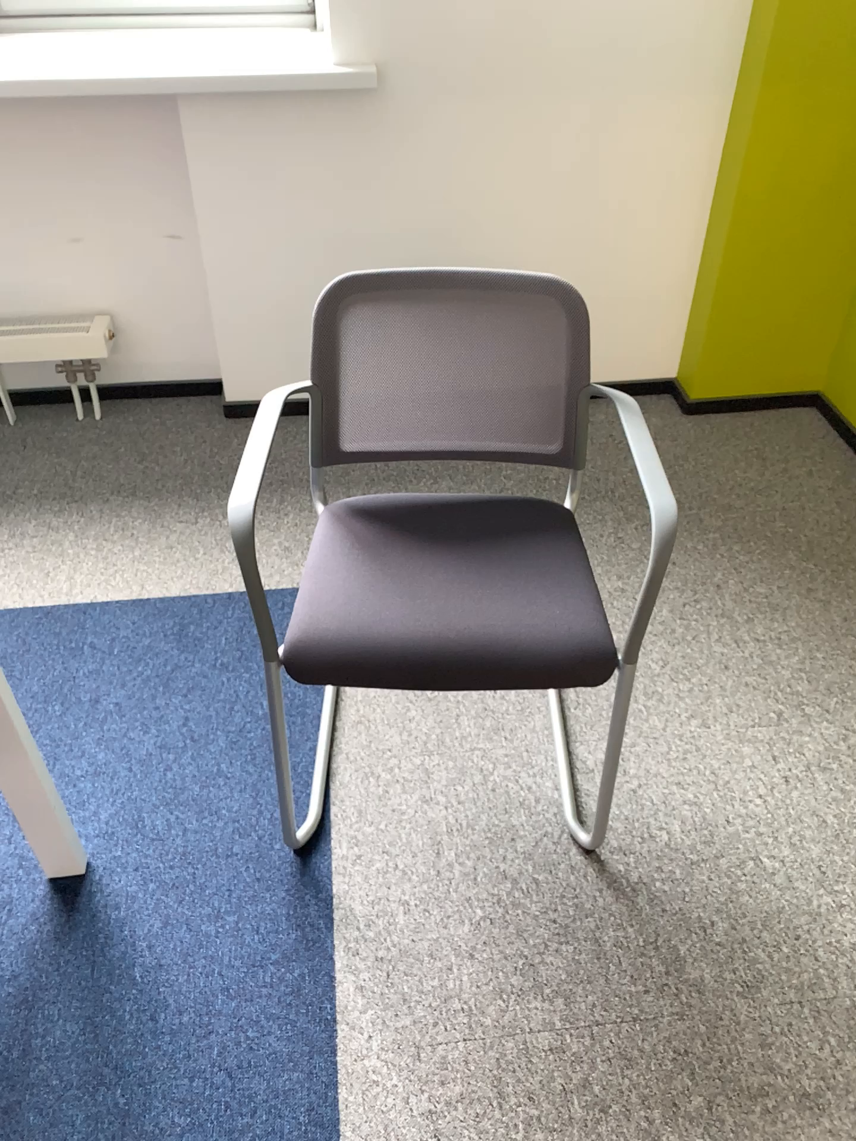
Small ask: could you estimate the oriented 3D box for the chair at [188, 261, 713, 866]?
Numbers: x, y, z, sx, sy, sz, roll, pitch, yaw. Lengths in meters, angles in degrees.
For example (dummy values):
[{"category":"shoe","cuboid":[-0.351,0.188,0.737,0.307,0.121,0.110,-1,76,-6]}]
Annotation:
[{"category":"chair","cuboid":[0.027,-0.002,1.316,0.530,0.726,0.523,2,39,1]}]
